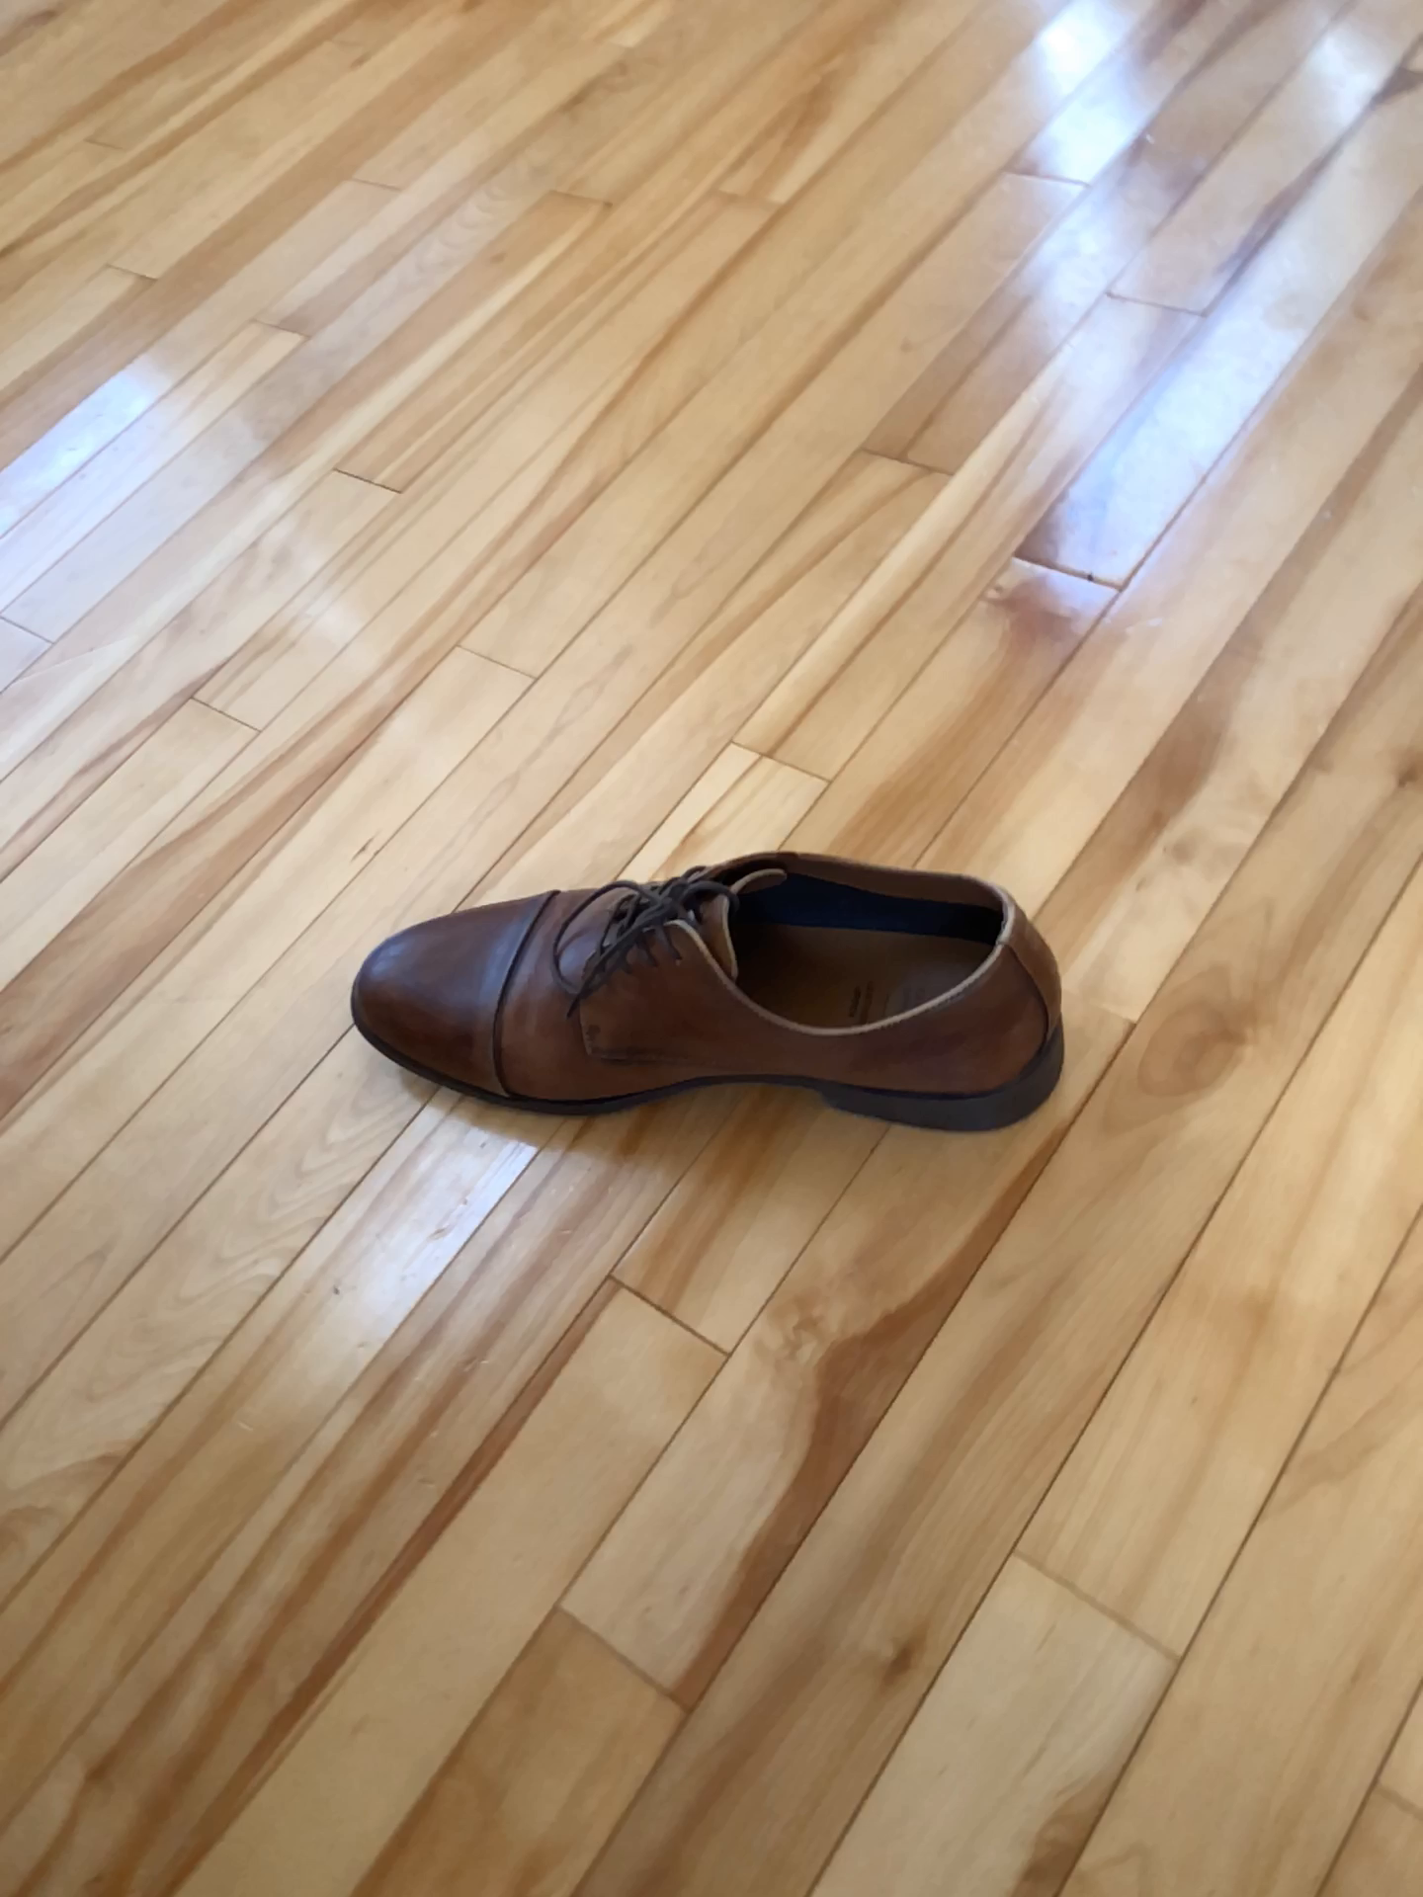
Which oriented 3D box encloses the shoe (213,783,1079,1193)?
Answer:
[{"bbox_3d":[-0.021,0.011,0.615,0.310,0.100,0.100,4,57,18],"label":"shoe"}]
